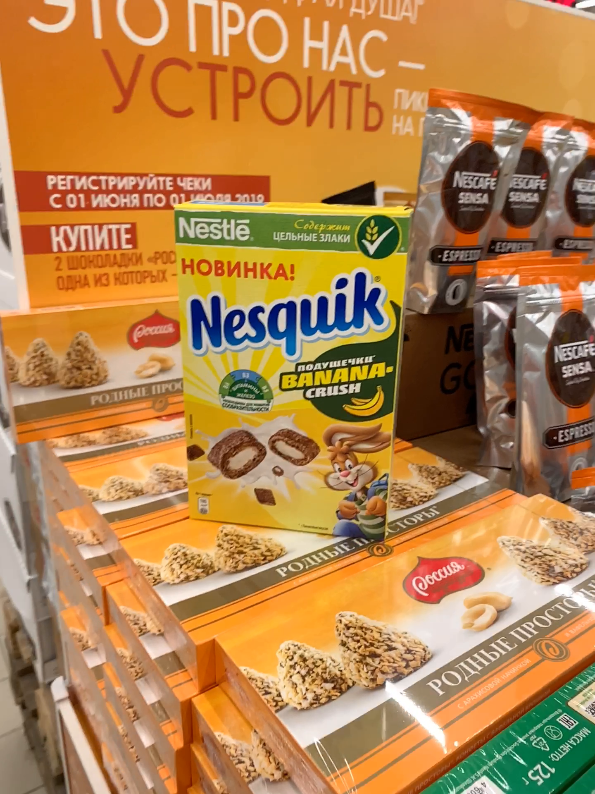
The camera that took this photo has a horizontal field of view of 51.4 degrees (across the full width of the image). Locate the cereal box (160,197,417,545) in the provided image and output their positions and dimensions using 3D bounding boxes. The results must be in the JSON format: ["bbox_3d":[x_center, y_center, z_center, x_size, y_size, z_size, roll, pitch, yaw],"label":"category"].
[{"bbox_3d":[-0.005,-0.019,0.436,0.160,0.229,0.050,4,19,11],"label":"cereal box"}]
